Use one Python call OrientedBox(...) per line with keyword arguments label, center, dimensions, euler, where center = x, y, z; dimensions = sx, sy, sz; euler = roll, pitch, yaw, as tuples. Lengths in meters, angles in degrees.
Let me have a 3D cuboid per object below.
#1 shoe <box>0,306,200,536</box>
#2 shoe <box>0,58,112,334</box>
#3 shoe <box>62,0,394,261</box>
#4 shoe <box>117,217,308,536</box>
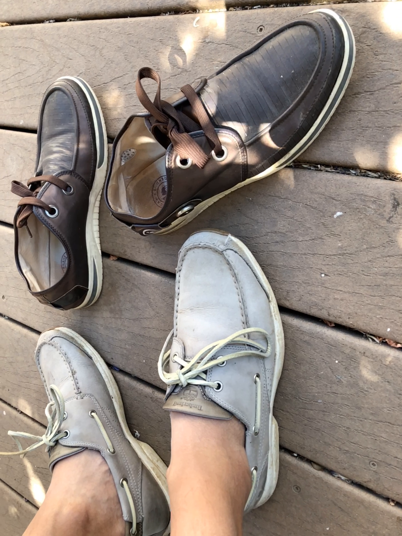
OrientedBox(label="shoe", center=(-0.140, 0.202, 0.518), dimensions=(0.110, 0.086, 0.292), euler=(-43, 74, 28))
OrientedBox(label="shoe", center=(-0.171, -0.078, 0.507), dimensions=(0.110, 0.069, 0.279), euler=(11, 103, 30))
OrientedBox(label="shoe", center=(0.006, -0.118, 0.398), dimensions=(0.278, 0.079, 0.109), euler=(-29, 80, 31))
OrientedBox(label="shoe", center=(0.015, 0.106, 0.415), dimensions=(0.110, 0.101, 0.293), euler=(-5, 93, 32))
